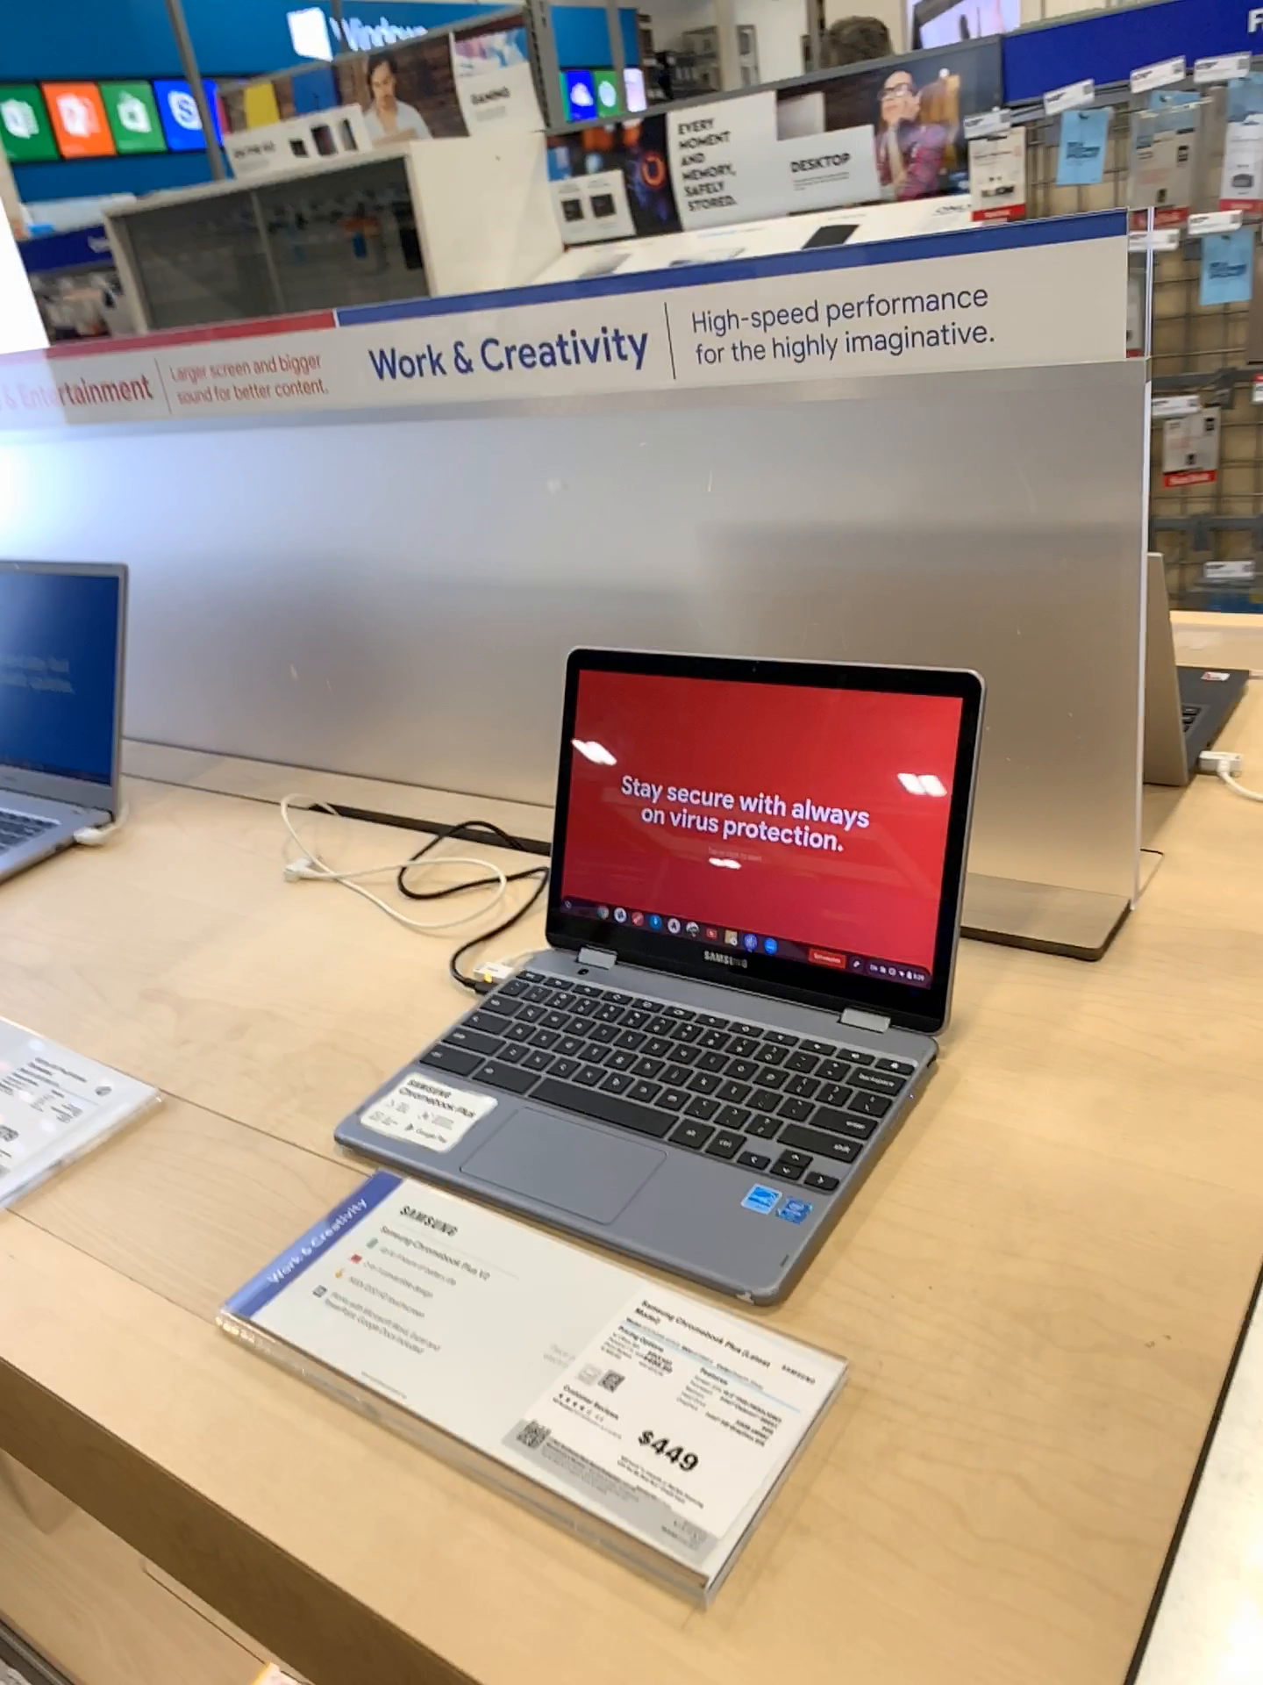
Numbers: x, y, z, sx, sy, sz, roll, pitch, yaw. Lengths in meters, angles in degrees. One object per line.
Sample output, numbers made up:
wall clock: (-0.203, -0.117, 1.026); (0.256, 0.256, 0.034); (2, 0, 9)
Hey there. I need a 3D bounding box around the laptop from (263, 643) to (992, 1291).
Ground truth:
laptop: (0.014, 0.034, 0.712); (0.275, 0.183, 0.275); (9, 32, 34)
